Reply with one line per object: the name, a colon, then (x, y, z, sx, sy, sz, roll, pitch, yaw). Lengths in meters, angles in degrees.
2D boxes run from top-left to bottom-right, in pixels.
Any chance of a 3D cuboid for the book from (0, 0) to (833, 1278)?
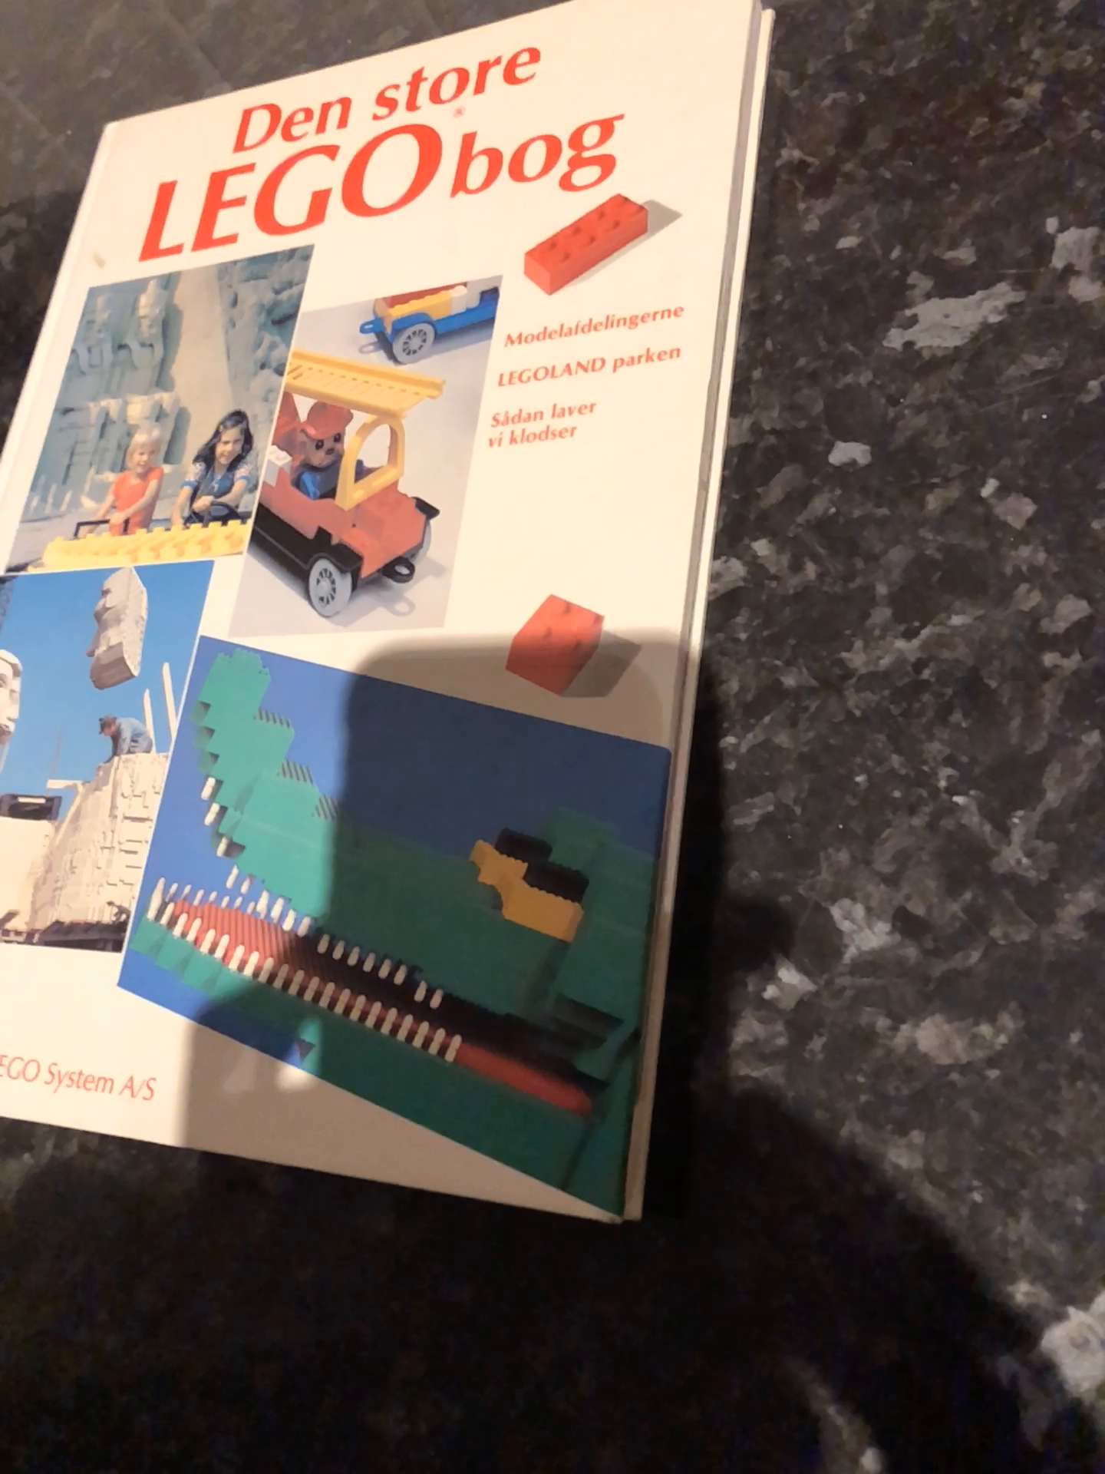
book: (-0.053, -0.049, 0.288, 0.210, 0.030, 0.291, 0, 70, 24)
